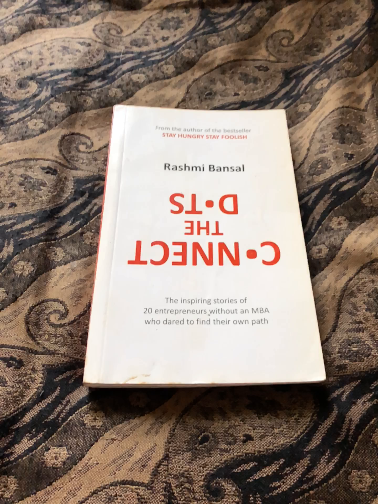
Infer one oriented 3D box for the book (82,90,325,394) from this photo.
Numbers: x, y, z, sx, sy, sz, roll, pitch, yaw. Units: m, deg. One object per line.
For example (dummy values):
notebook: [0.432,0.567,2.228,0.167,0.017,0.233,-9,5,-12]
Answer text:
book: [0.008,-0.019,0.296,0.130,0.040,0.220,-1,62,1]
